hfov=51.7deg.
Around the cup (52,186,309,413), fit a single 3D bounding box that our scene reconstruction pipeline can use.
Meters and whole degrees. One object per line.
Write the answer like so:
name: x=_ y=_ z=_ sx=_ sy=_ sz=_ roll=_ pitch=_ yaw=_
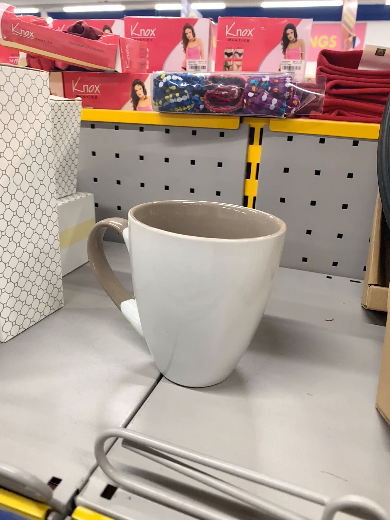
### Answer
cup: x=-0.006 y=0.013 z=0.281 sx=0.140 sy=0.100 sz=0.100 roll=11 pitch=21 yaw=20
